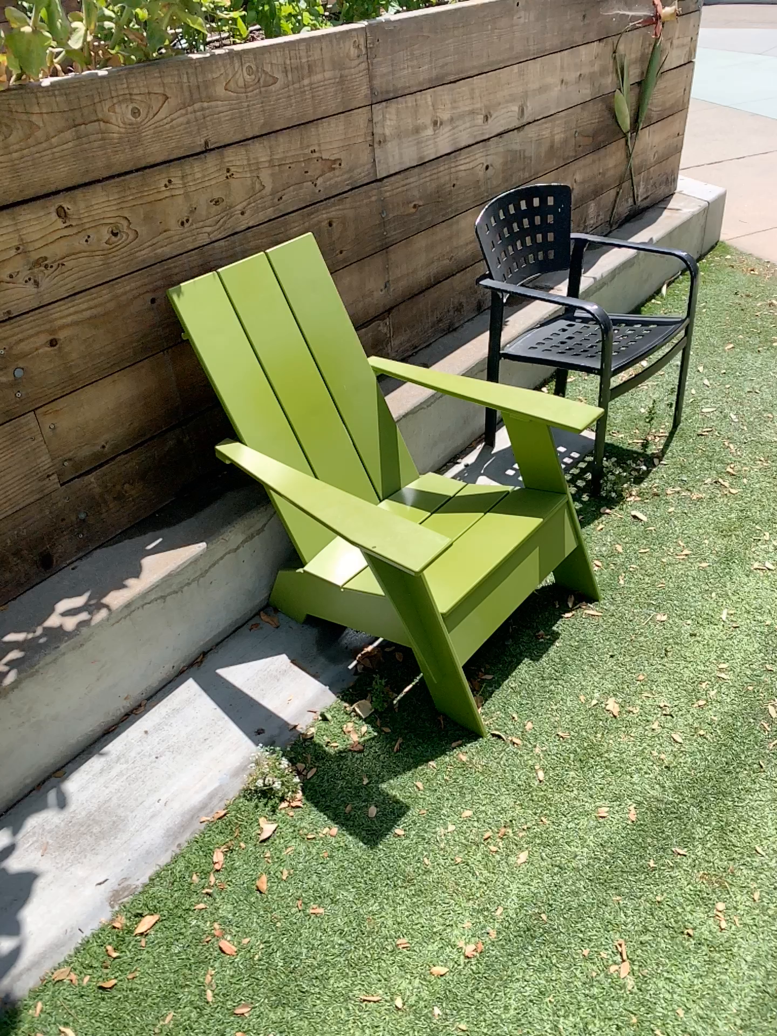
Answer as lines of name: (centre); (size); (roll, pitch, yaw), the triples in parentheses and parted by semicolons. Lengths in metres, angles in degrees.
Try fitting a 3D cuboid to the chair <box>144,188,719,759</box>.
chair: (0.095, -0.180, 1.840); (0.904, 0.845, 0.722); (25, 45, 34)
